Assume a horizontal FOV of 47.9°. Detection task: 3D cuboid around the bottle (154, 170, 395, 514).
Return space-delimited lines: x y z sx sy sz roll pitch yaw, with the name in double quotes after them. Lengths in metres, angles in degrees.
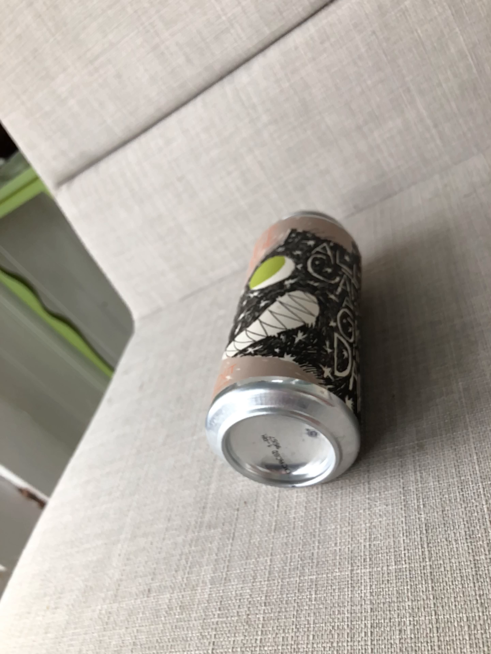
0.021 0.001 0.276 0.070 0.069 0.151 -23 35 27 "bottle"
